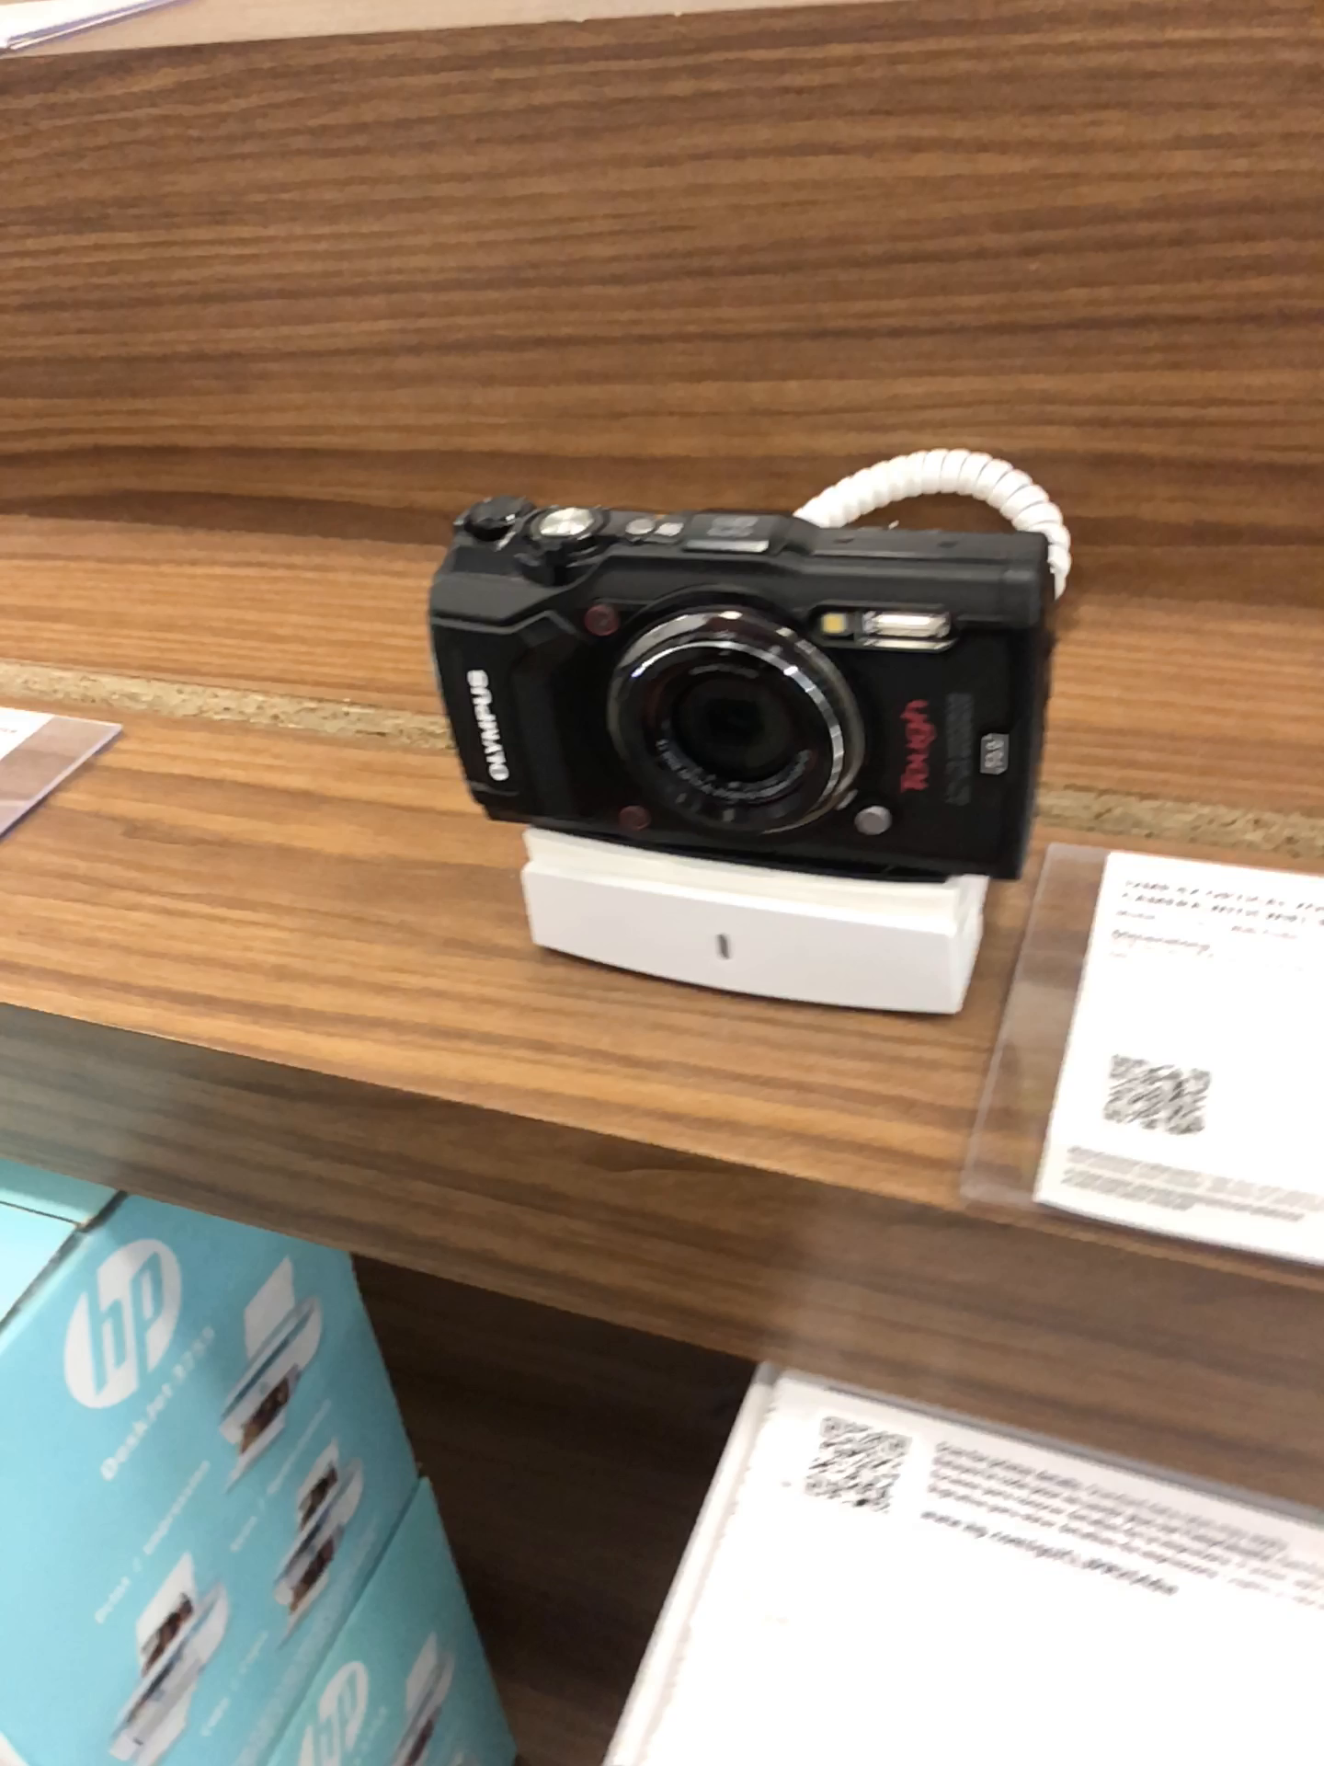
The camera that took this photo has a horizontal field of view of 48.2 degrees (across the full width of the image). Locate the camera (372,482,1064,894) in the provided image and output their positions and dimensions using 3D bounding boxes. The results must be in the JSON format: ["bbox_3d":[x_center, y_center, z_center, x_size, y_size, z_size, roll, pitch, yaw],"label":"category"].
[{"bbox_3d":[0.011,-0.039,0.280,0.120,0.060,0.030,8,38,20],"label":"camera"}]
